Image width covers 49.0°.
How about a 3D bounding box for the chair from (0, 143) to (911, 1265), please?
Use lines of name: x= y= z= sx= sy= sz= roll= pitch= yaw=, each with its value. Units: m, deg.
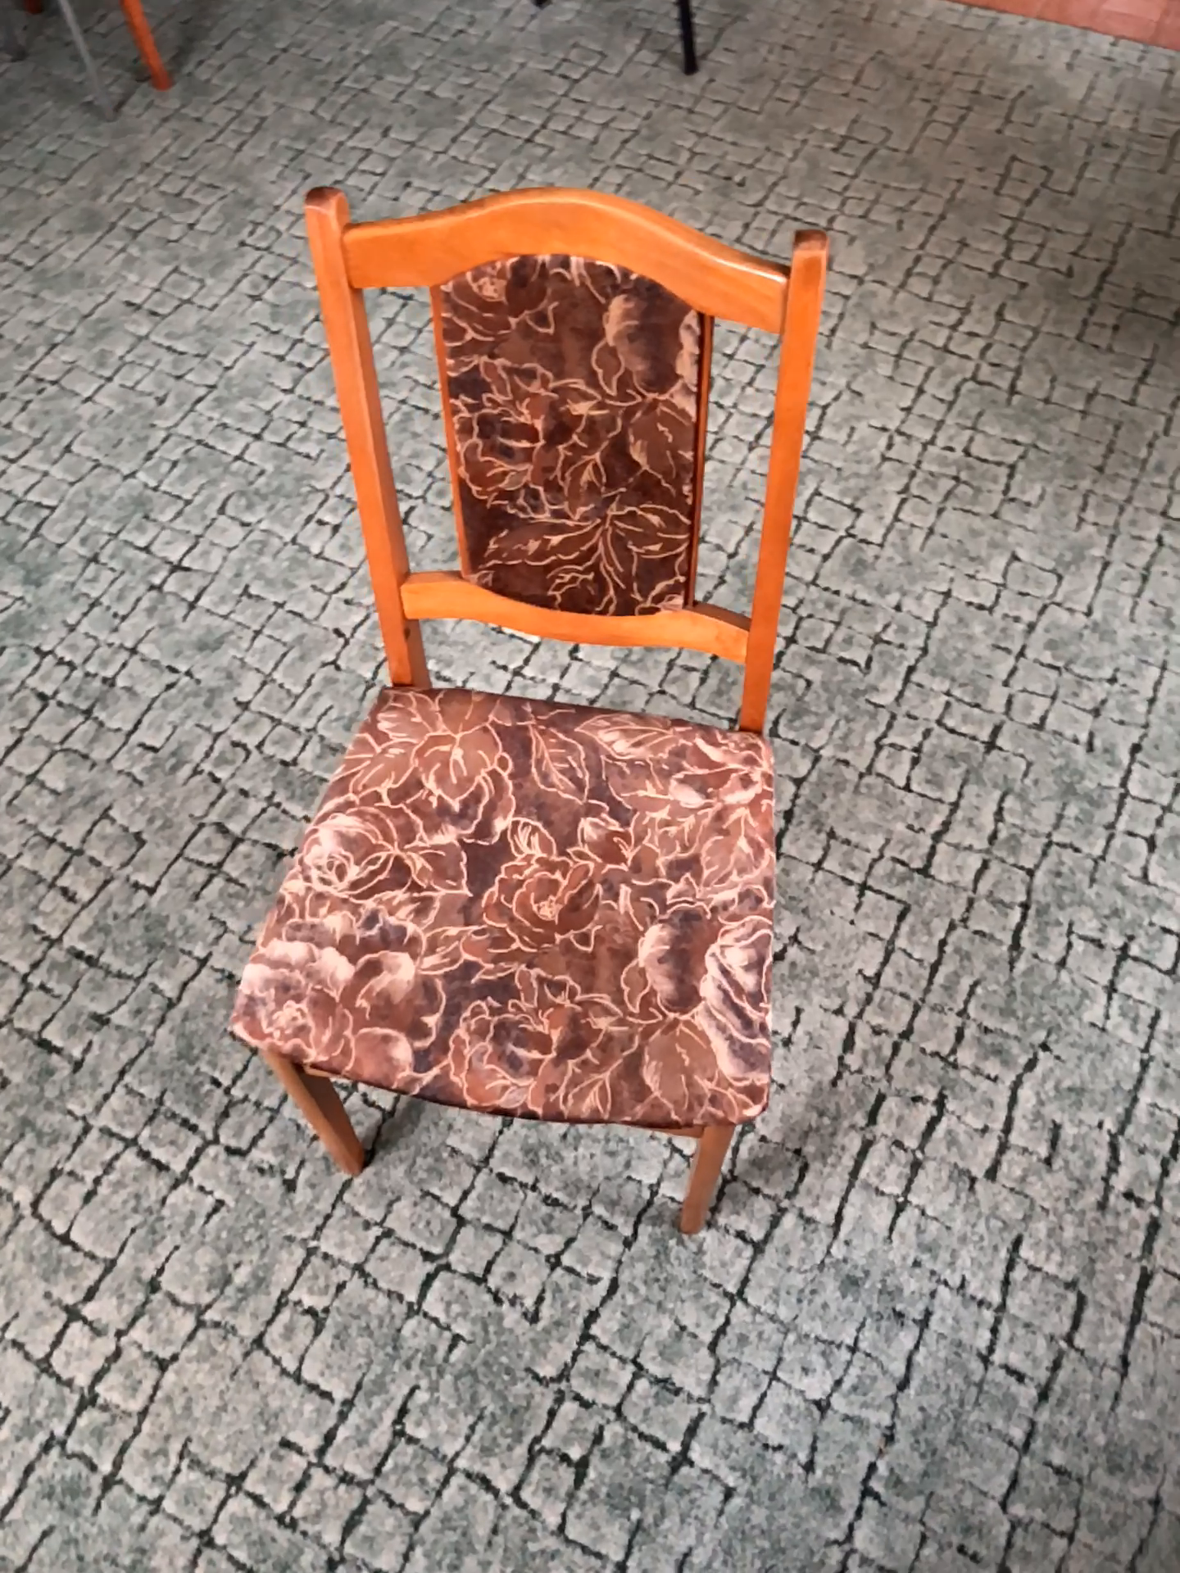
chair: x=-0.046 y=0.008 z=1.182 sx=0.480 sy=0.875 sz=0.553 roll=9 pitch=59 yaw=8
